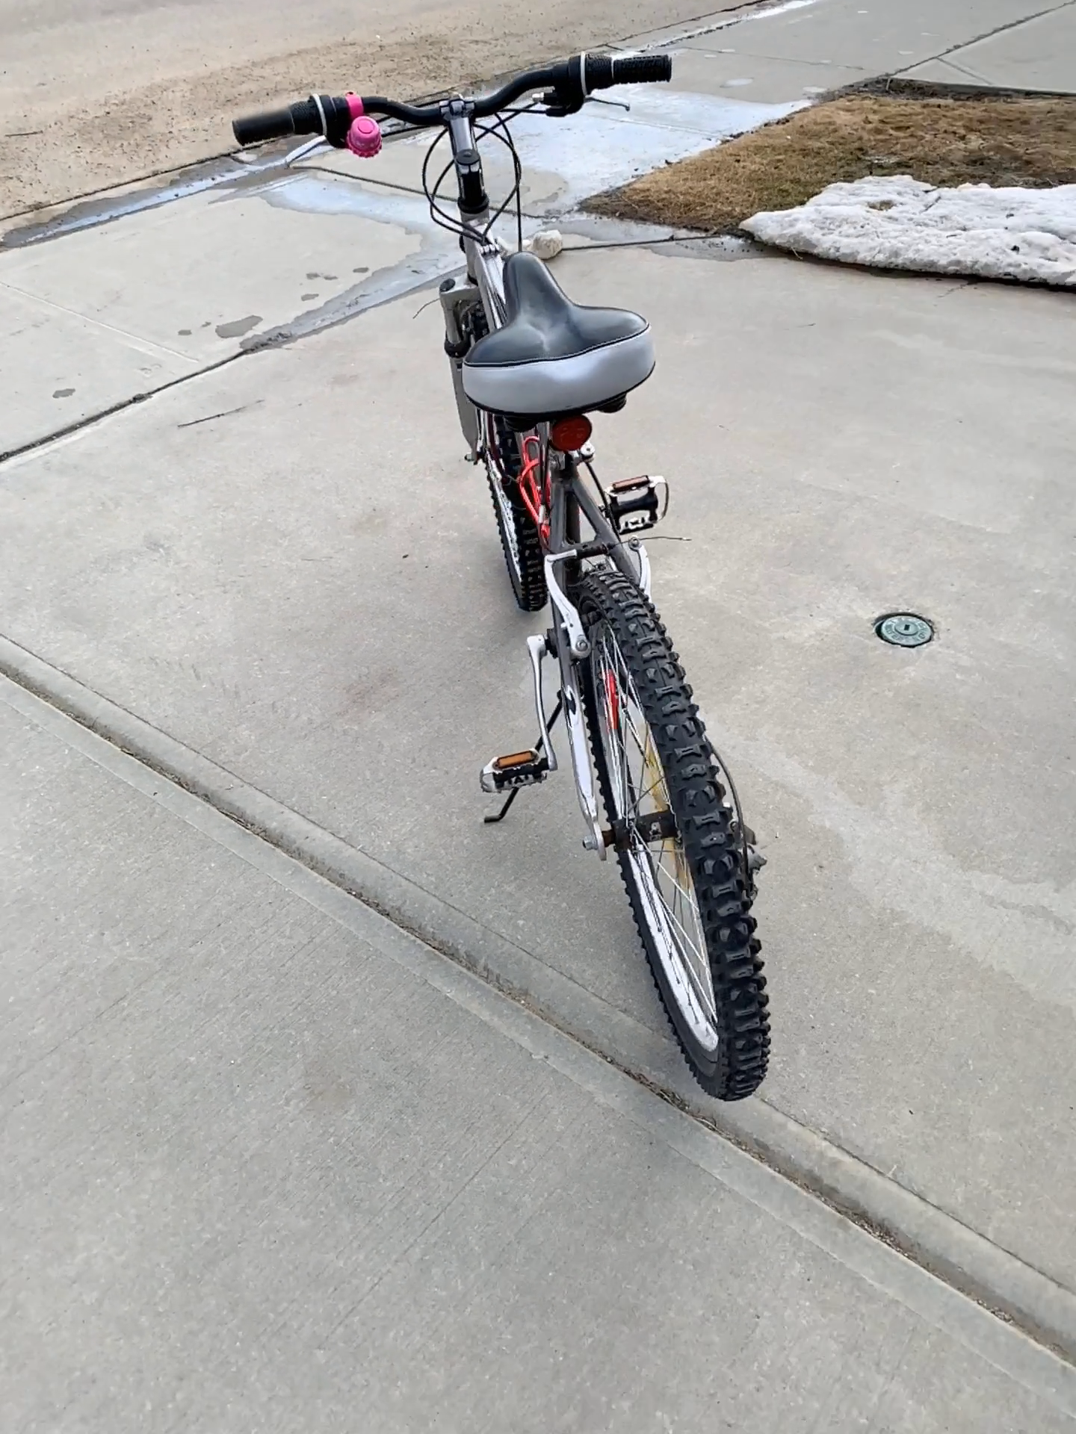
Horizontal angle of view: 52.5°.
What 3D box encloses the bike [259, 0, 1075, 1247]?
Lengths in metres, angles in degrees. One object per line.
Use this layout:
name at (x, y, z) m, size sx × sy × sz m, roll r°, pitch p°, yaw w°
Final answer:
bike at (-0.008, -0.308, 1.441) m, size 0.538 × 0.825 × 1.508 m, roll -8°, pitch 44°, yaw -8°
